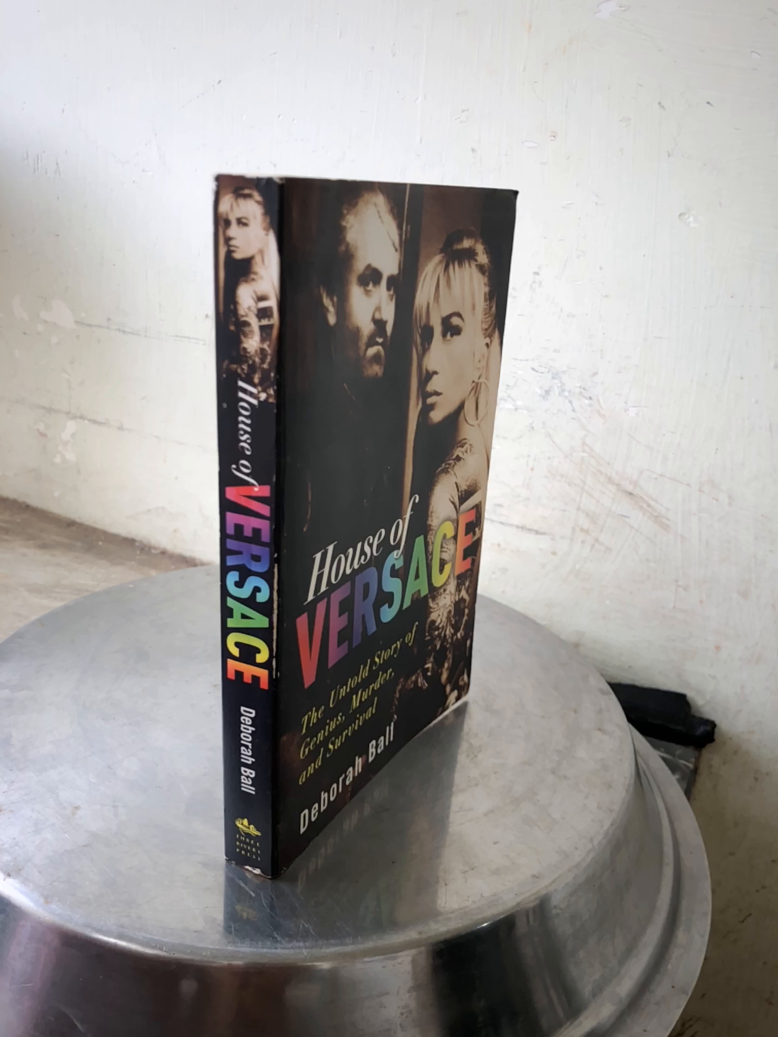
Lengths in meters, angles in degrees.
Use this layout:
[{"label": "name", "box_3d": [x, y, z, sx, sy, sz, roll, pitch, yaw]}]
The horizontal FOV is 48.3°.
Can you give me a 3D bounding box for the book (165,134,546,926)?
[{"label": "book", "box_3d": [-0.004, -0.007, 0.315, 0.040, 0.219, 0.181, 13, 19, 23]}]
